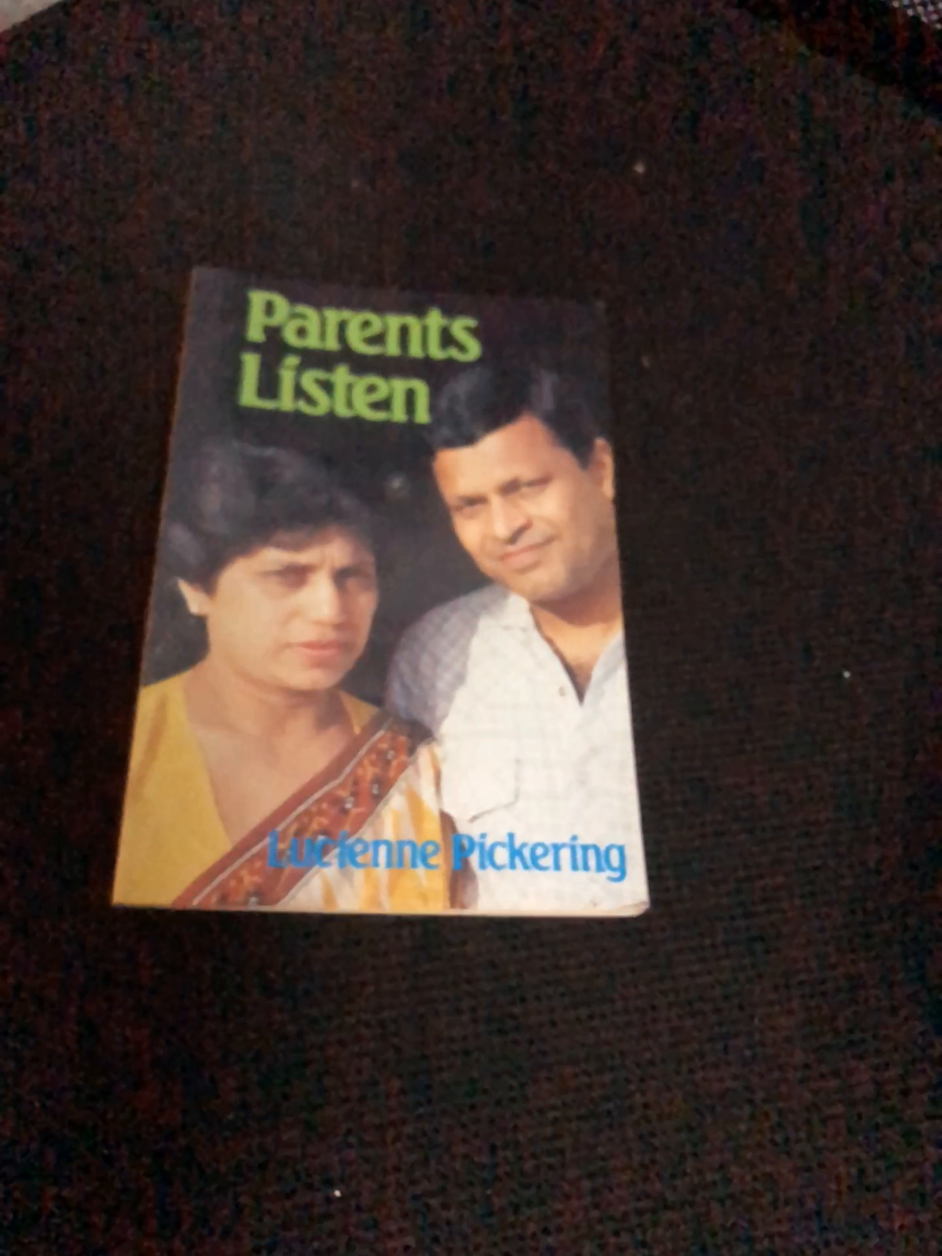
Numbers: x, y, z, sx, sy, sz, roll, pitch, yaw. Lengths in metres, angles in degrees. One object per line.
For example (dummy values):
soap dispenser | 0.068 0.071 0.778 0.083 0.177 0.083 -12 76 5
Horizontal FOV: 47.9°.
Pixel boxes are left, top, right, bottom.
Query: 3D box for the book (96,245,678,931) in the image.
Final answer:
book | -0.017 -0.020 0.281 0.130 0.010 0.191 3 64 -8
